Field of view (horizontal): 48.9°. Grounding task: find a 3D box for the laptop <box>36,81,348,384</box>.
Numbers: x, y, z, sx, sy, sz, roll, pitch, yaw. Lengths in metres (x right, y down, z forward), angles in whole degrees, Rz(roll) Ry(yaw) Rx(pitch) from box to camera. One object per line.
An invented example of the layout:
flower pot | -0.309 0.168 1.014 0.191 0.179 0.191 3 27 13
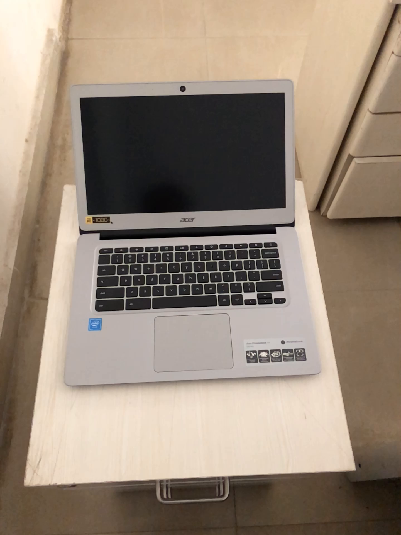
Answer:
laptop | -0.017 -0.065 0.619 0.332 0.126 0.409 -2 62 -2
